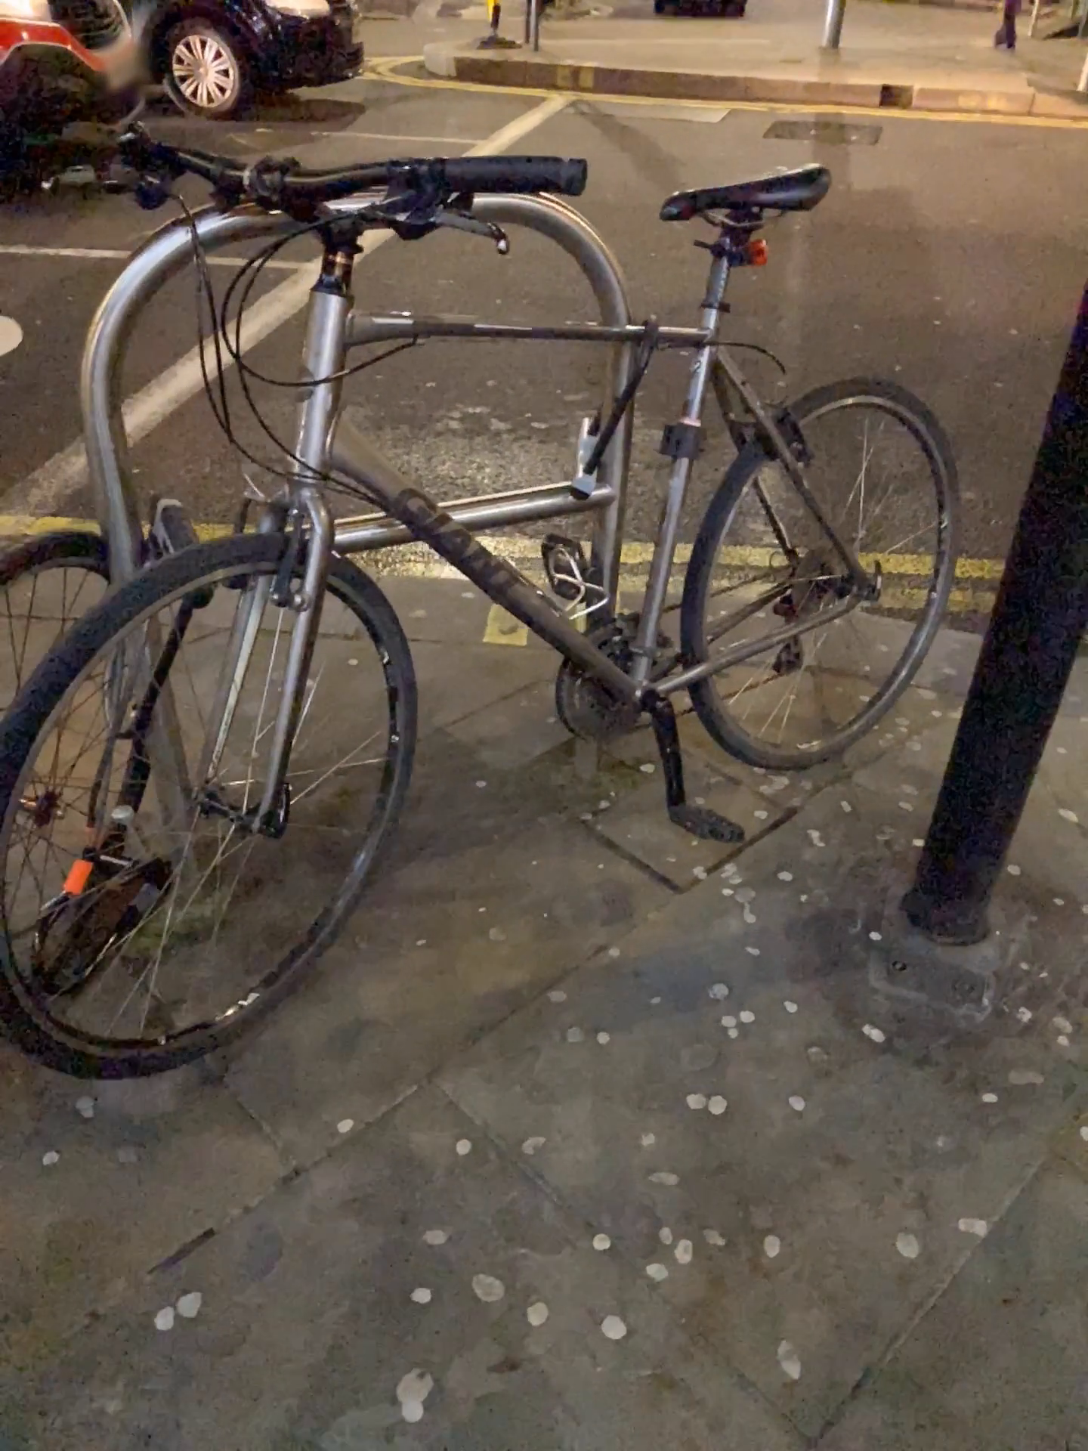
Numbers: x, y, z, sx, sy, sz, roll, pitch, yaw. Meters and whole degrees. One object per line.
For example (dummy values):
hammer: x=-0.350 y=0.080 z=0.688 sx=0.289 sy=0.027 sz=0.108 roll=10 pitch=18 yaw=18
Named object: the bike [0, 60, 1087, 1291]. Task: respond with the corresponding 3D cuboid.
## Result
bike: x=-0.005 y=-0.295 z=1.645 sx=1.824 sy=1.124 sz=0.710 roll=-25 pitch=43 yaw=-33
